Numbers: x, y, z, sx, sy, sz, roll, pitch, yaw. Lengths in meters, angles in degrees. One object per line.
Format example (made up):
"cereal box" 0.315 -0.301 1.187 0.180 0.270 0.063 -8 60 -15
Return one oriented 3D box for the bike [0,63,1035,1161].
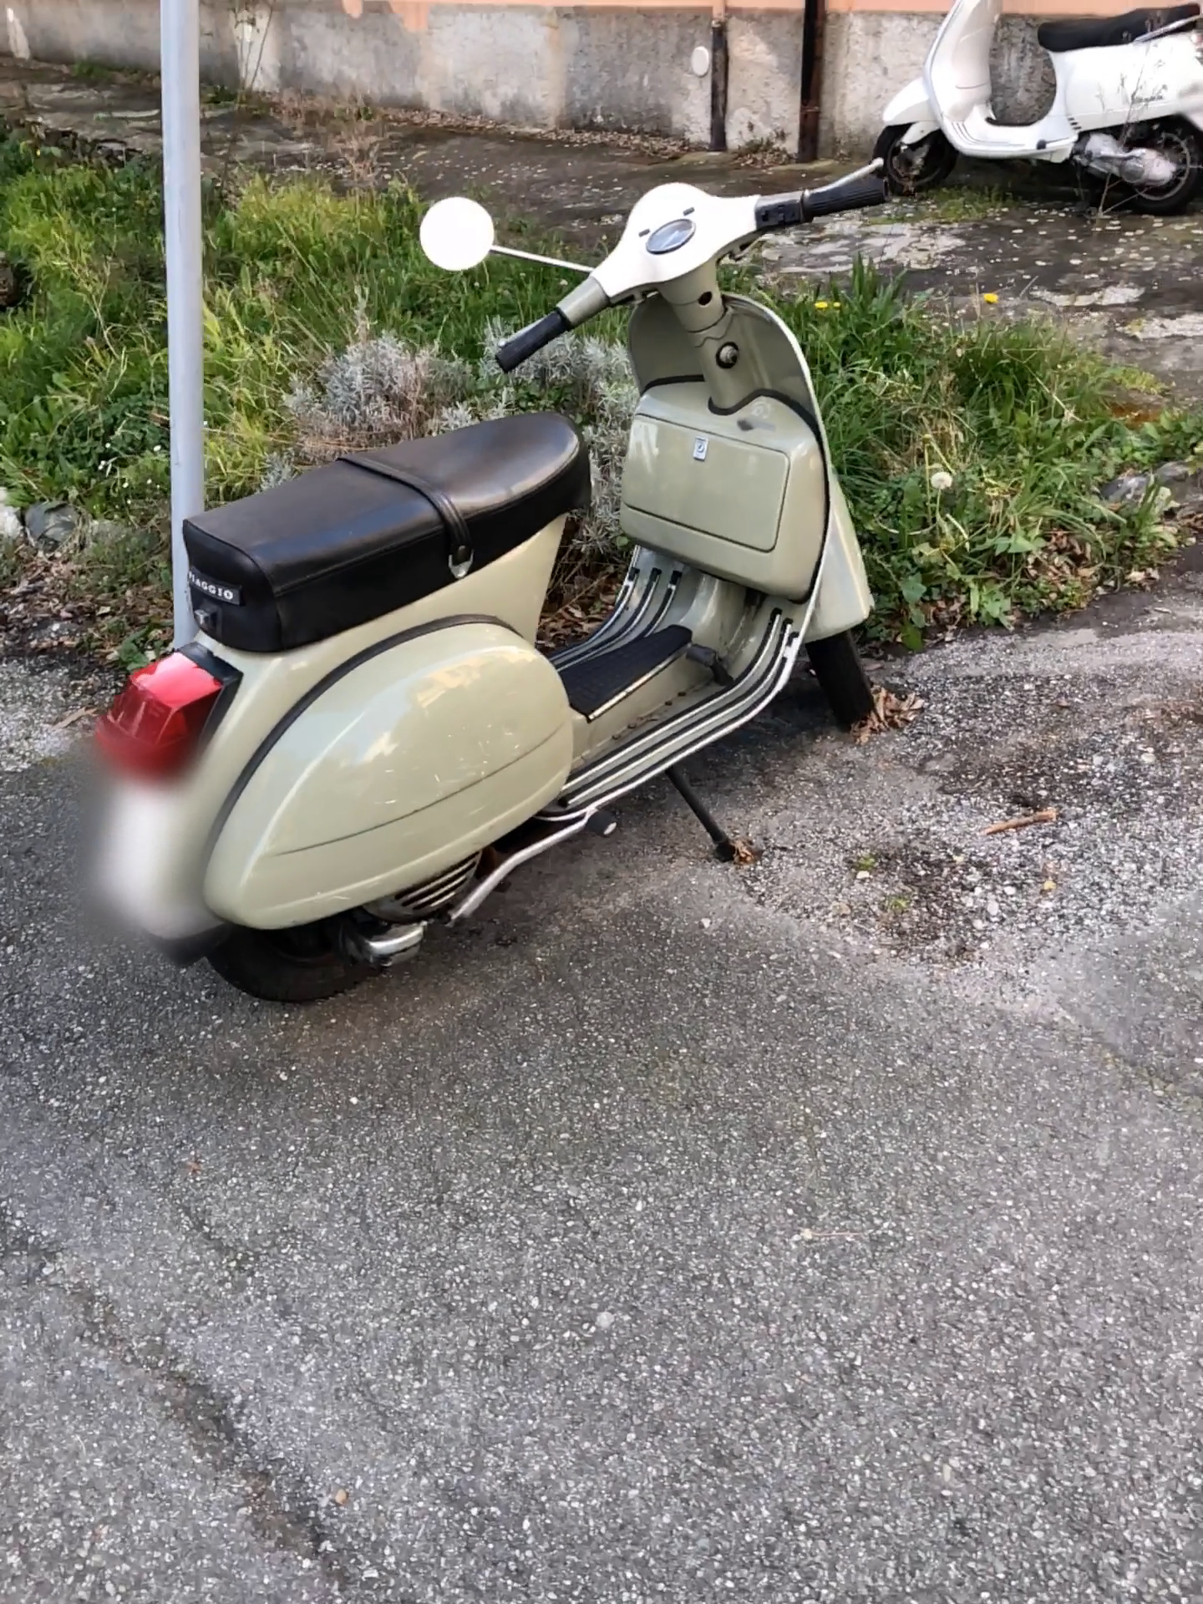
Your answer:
"bike" -0.064 -0.411 2.043 0.622 1.027 1.445 28 47 35
